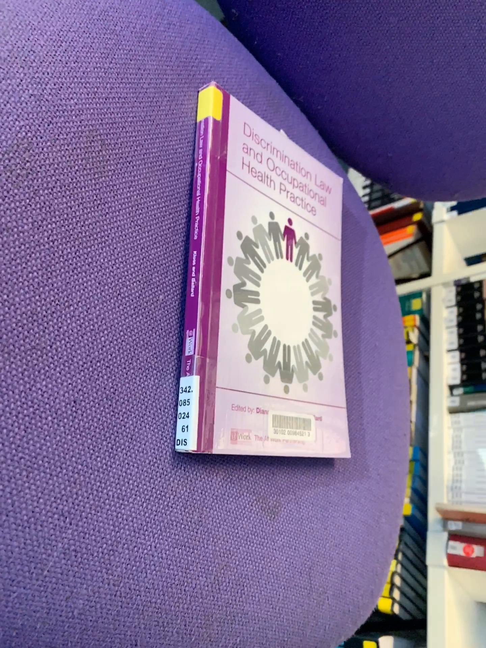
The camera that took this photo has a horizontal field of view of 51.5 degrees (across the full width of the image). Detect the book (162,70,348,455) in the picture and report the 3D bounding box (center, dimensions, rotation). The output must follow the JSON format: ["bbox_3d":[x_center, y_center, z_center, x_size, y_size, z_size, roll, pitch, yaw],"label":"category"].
[{"bbox_3d":[0.019,-0.031,0.354,0.158,0.022,0.236,17,68,-46],"label":"book"}]
